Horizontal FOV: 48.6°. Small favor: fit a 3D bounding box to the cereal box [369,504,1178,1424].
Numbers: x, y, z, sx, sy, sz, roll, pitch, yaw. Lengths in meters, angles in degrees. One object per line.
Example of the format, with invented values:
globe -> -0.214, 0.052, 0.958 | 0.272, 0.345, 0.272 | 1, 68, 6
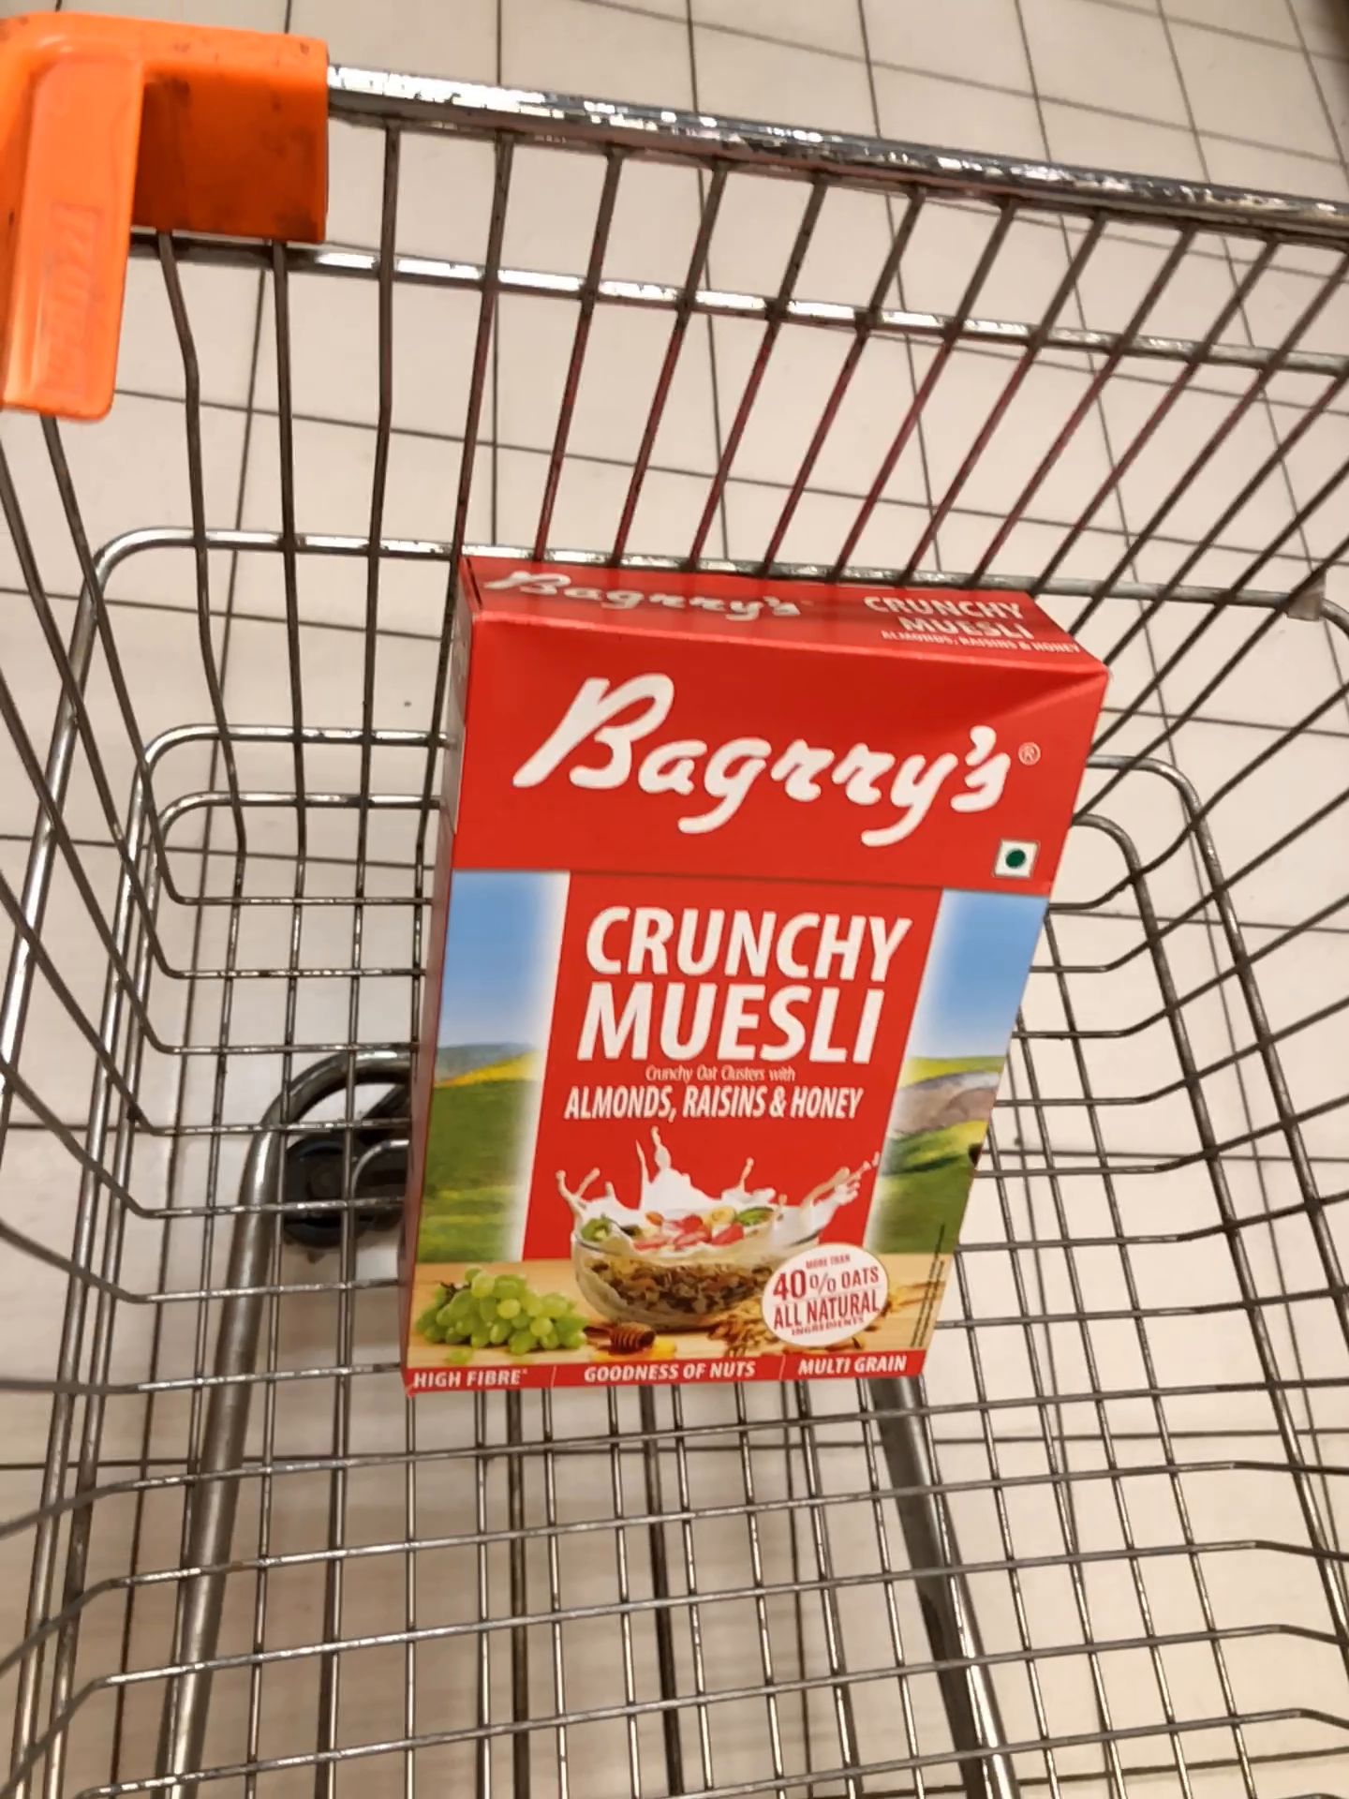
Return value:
cereal box -> 0.012, 0.035, 0.459 | 0.190, 0.279, 0.060 | 2, 30, -15
